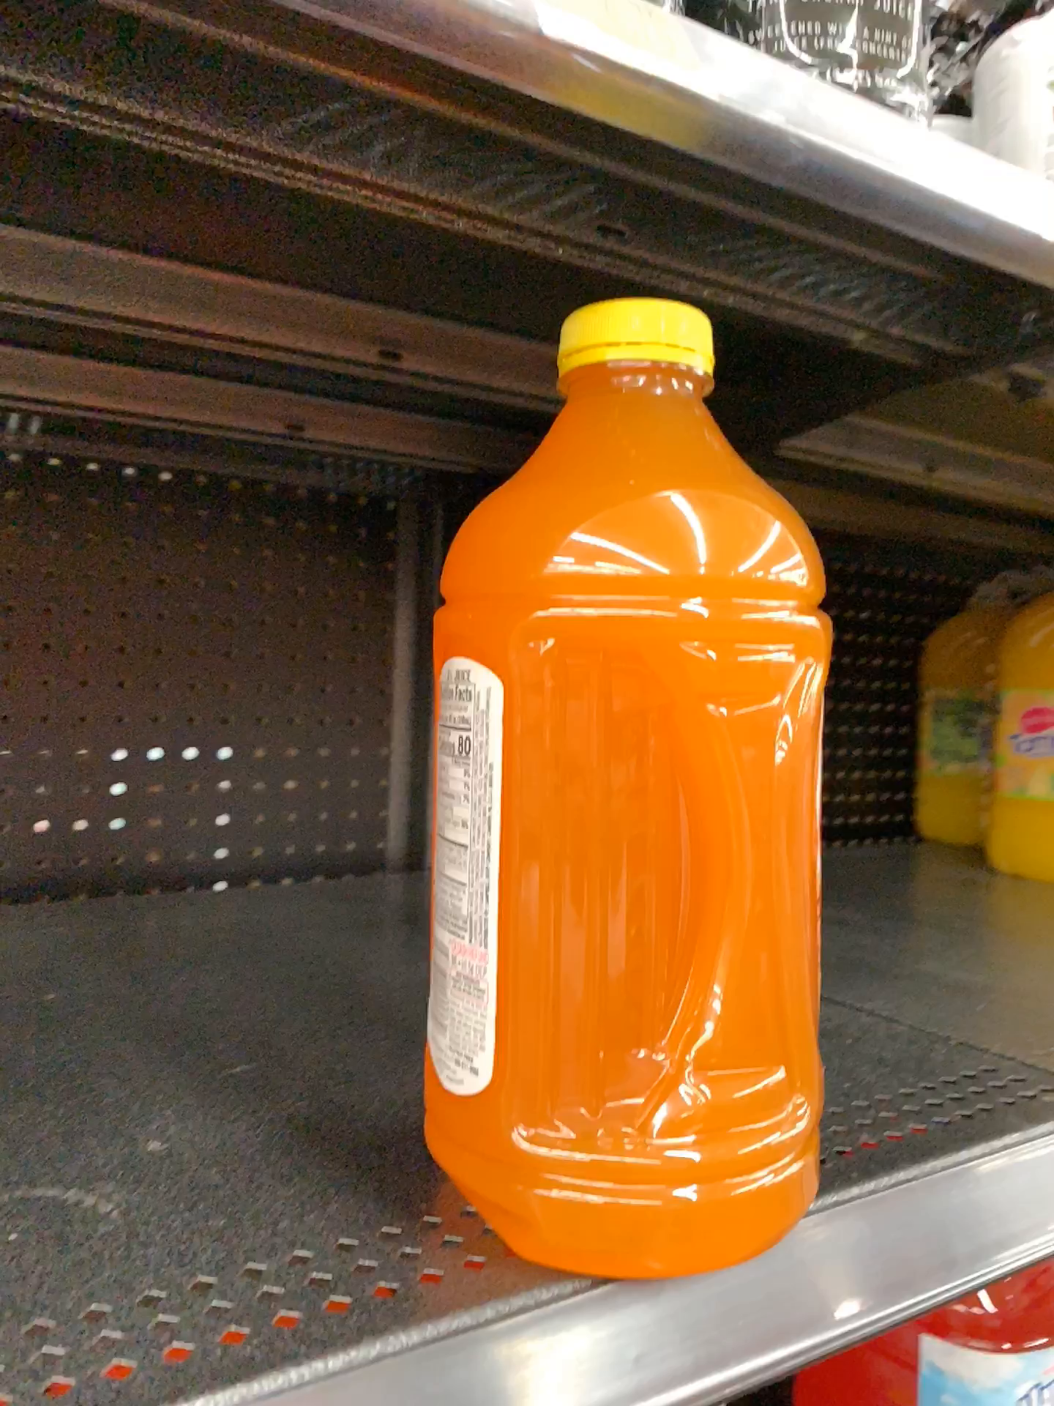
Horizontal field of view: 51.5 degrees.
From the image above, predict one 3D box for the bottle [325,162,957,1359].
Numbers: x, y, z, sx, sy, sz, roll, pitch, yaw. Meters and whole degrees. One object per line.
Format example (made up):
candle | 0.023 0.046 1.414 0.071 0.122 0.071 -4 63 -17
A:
bottle | 0.027 0.012 0.324 0.125 0.260 0.128 2 1 0
